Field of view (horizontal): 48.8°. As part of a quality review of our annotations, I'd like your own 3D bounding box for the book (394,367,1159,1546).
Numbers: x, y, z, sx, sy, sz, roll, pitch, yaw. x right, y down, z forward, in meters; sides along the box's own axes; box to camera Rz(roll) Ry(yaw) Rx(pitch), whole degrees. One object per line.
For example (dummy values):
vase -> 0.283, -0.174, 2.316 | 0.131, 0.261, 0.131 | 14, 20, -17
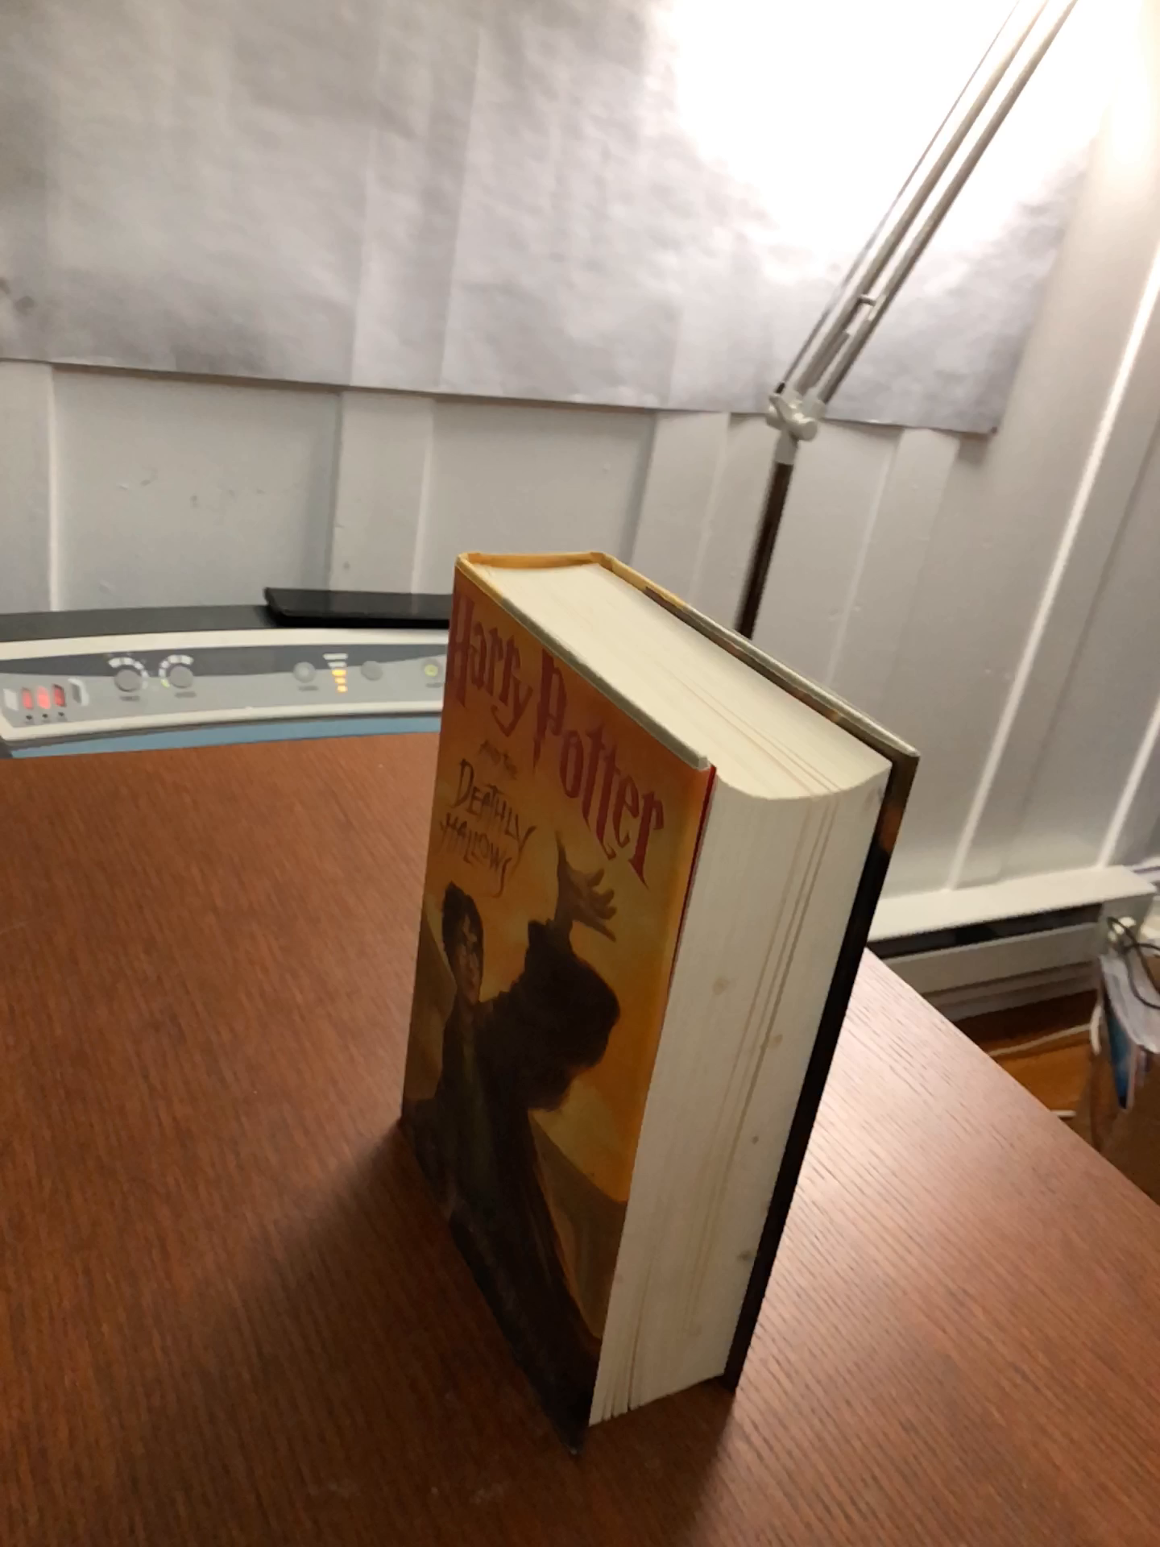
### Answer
book -> 0.028, 0.058, 0.377 | 0.070, 0.298, 0.211 | -5, 29, -28
